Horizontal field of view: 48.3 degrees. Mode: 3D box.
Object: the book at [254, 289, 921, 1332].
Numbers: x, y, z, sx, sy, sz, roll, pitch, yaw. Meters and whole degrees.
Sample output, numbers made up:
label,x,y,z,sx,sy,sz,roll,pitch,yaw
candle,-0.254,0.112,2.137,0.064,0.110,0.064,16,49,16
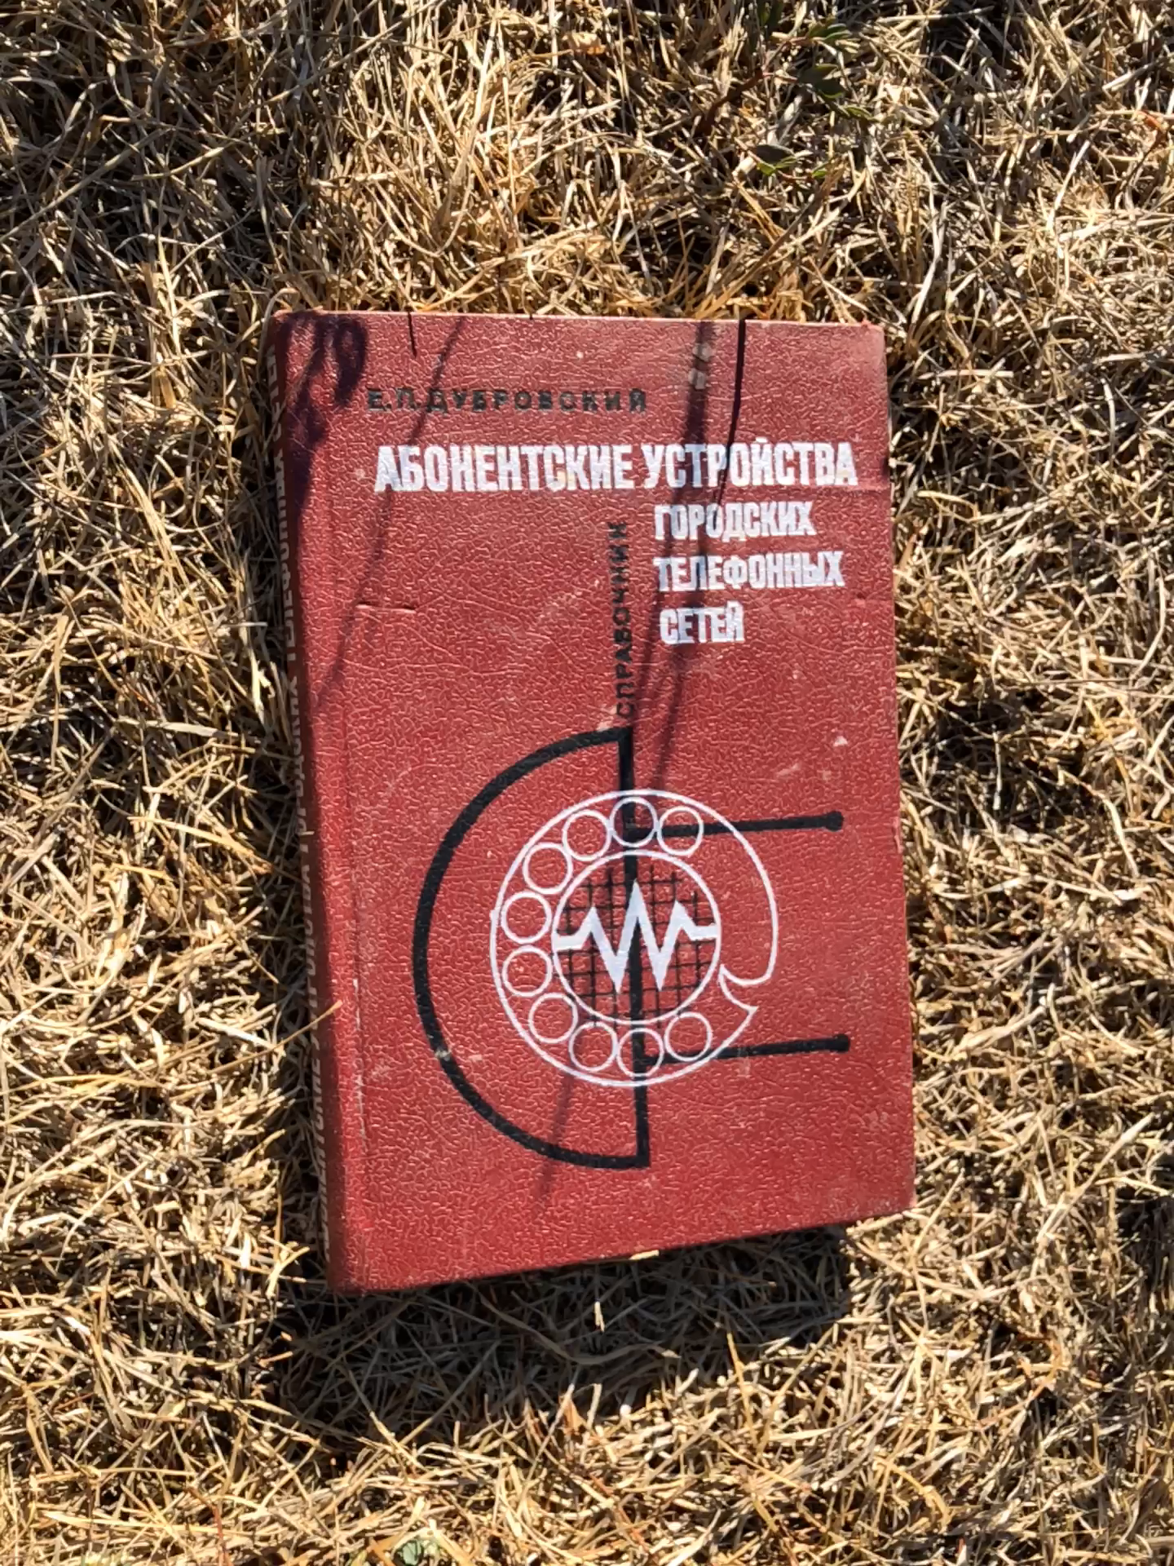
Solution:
label,x,y,z,sx,sy,sz,roll,pitch,yaw
book,0.003,0.004,0.298,0.142,0.030,0.211,-3,94,-16
